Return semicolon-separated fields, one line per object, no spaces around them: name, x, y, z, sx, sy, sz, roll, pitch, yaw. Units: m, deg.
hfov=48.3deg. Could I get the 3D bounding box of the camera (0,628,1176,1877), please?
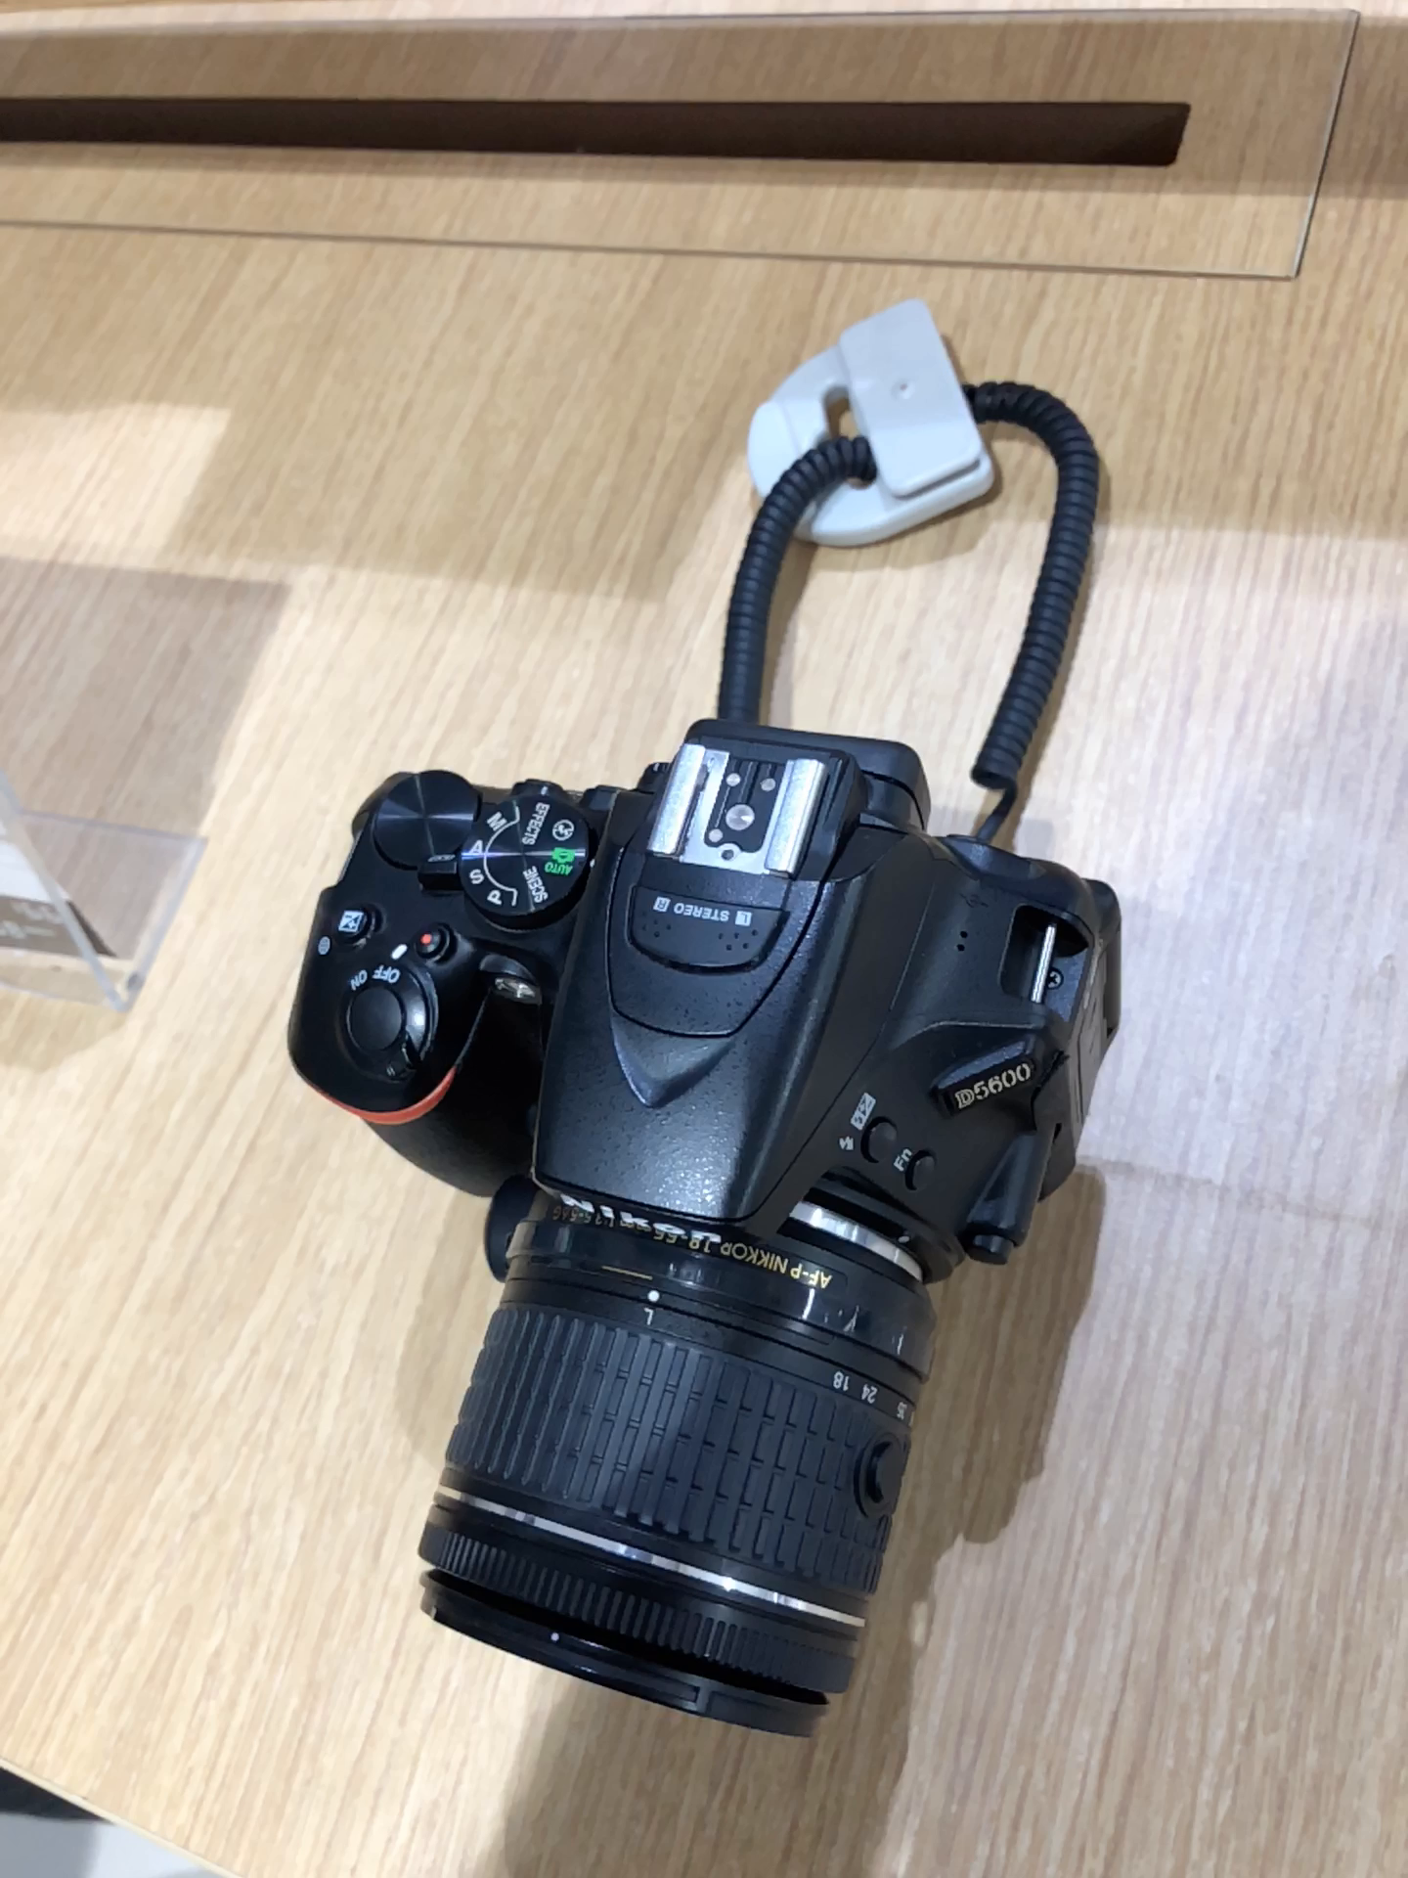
camera;-0.008;0.036;0.220;0.120;0.070;0.130;10;67;19
